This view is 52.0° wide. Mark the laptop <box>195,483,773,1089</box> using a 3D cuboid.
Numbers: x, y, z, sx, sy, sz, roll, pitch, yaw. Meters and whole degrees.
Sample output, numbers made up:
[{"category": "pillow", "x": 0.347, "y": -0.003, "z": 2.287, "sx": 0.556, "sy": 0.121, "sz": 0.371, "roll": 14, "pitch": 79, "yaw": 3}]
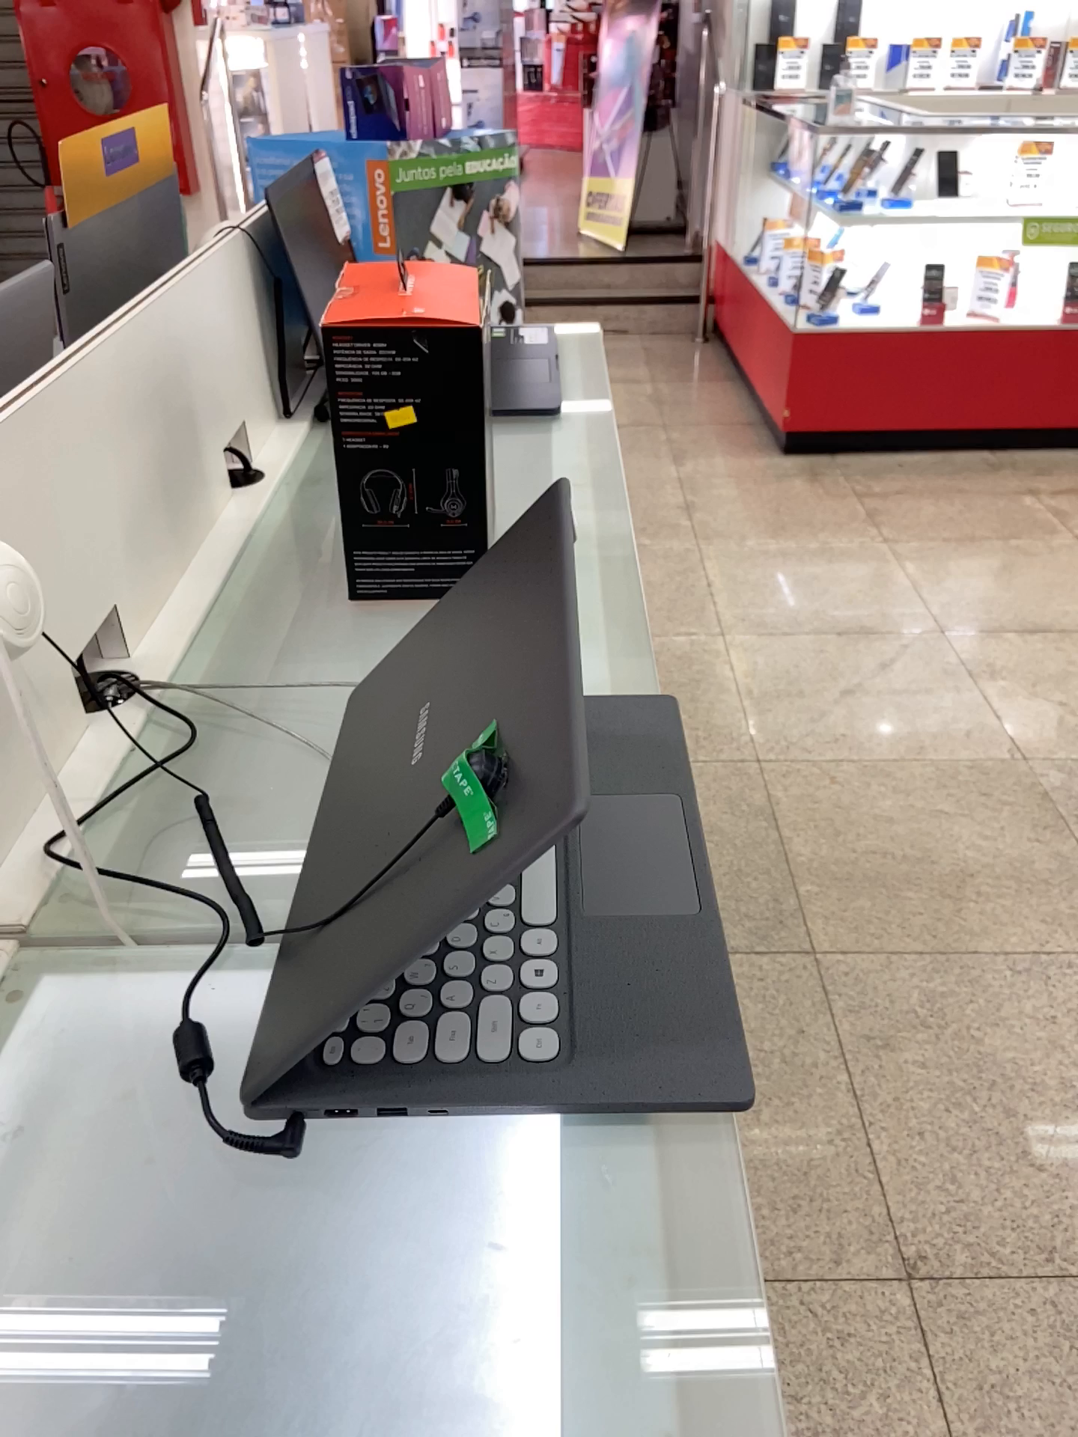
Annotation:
[{"category": "laptop", "x": -0.019, "y": 0.010, "z": 0.568, "sx": 0.207, "sy": 0.153, "sz": 0.313, "roll": -1, "pitch": 32, "yaw": 0}]
